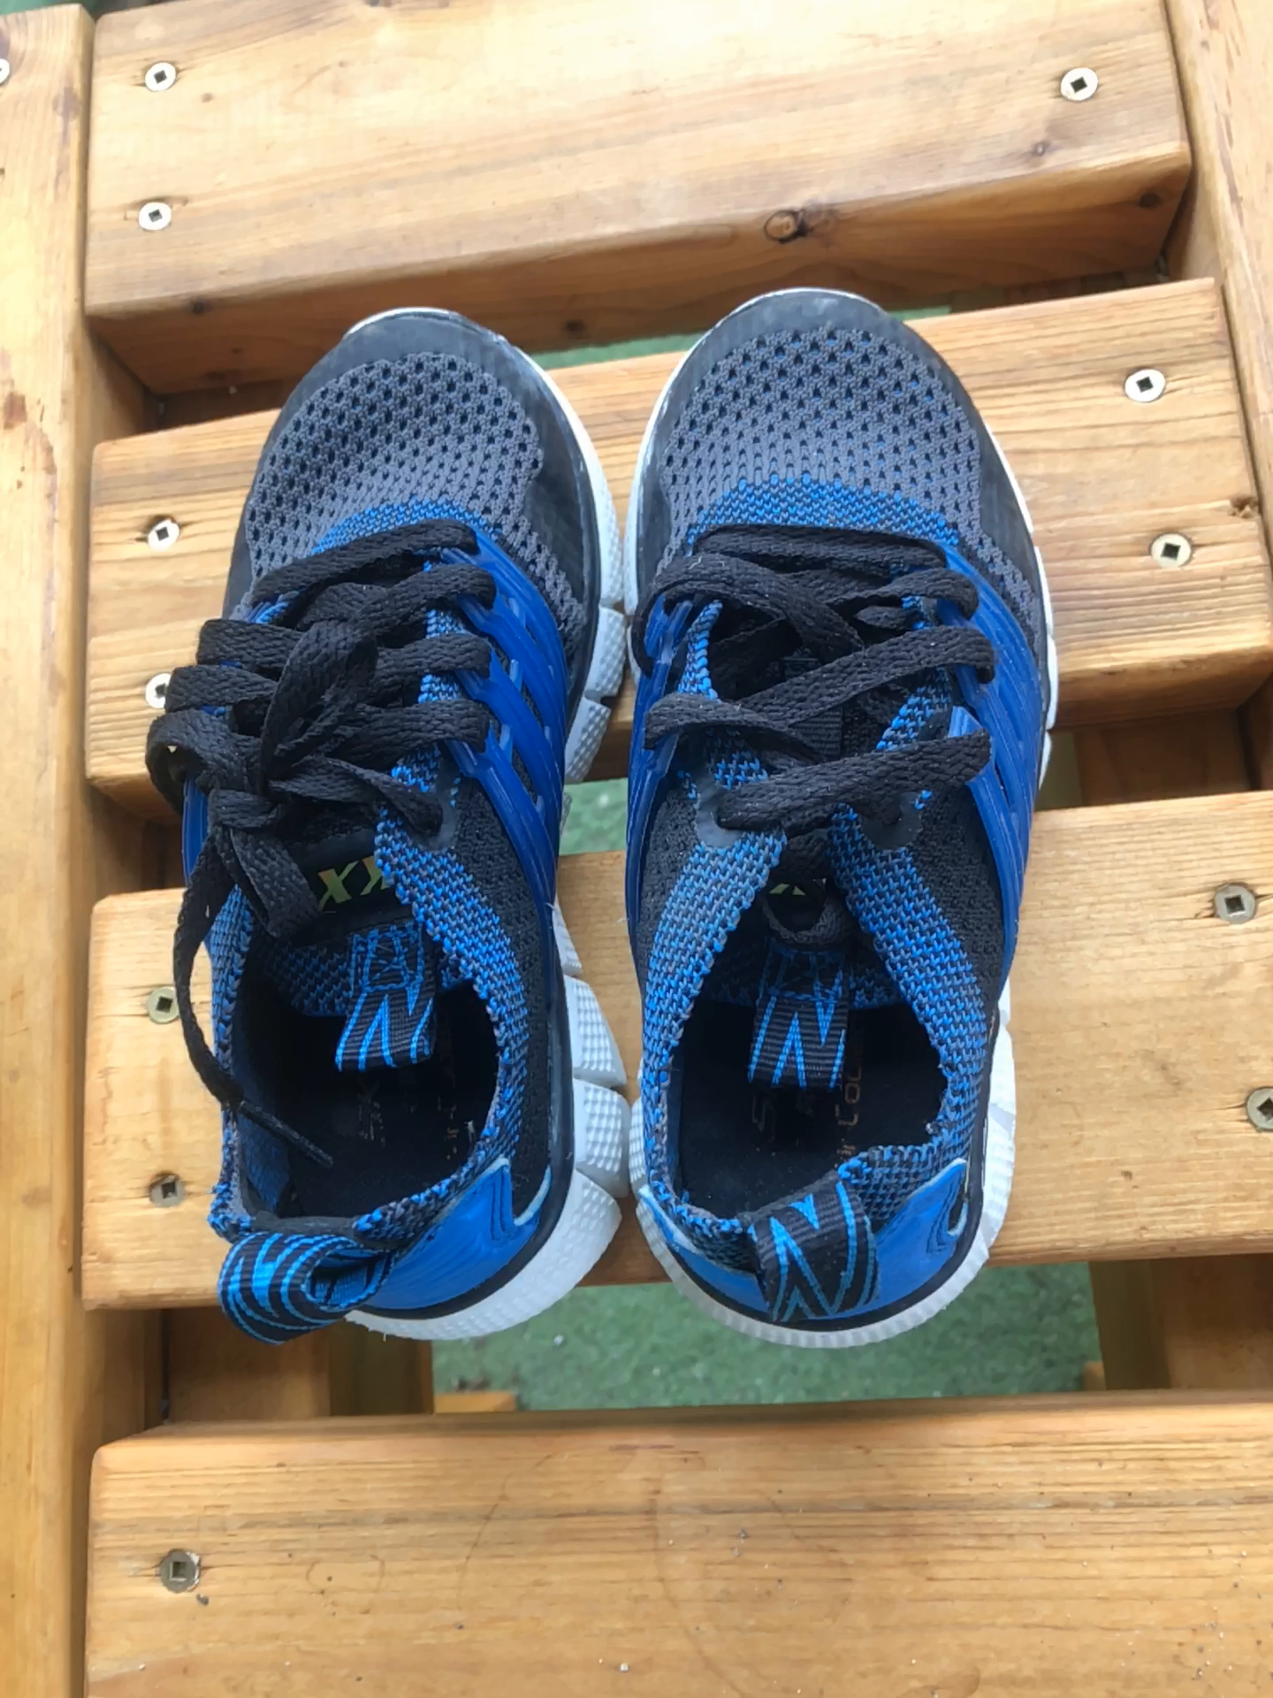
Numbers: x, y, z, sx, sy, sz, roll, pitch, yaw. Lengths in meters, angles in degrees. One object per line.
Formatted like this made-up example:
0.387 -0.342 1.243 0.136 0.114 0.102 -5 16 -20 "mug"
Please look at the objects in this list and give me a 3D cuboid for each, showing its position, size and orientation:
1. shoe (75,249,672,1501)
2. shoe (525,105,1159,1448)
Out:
-0.046 0.007 0.279 0.080 0.100 0.200 -6 78 7 "shoe"
0.031 -0.008 0.248 0.080 0.100 0.190 -2 78 8 "shoe"
